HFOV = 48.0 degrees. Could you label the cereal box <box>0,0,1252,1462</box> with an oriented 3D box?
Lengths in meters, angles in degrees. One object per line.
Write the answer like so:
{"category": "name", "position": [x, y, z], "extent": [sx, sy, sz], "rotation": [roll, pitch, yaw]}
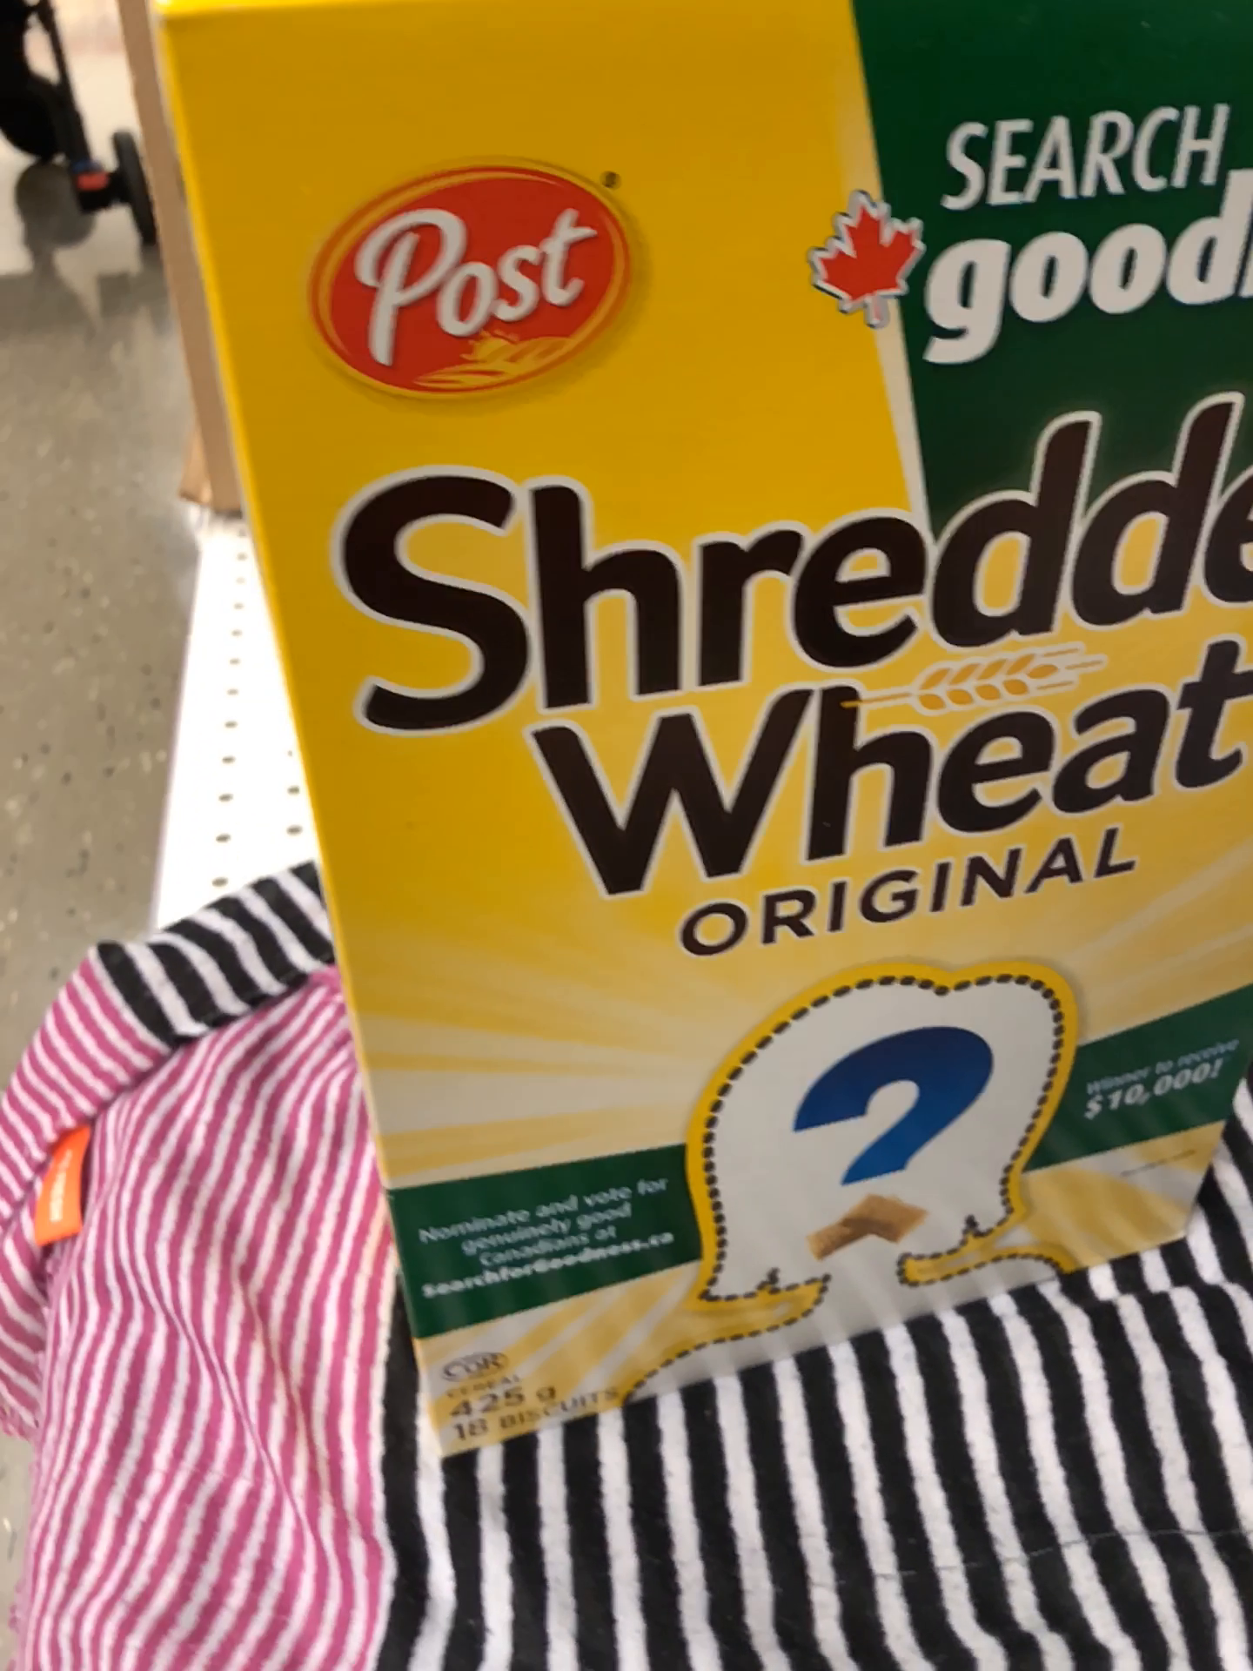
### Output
{"category": "cereal box", "position": [0.032, -0.023, 0.258], "extent": [0.210, 0.269, 0.080], "rotation": [-12, 39, -13]}
